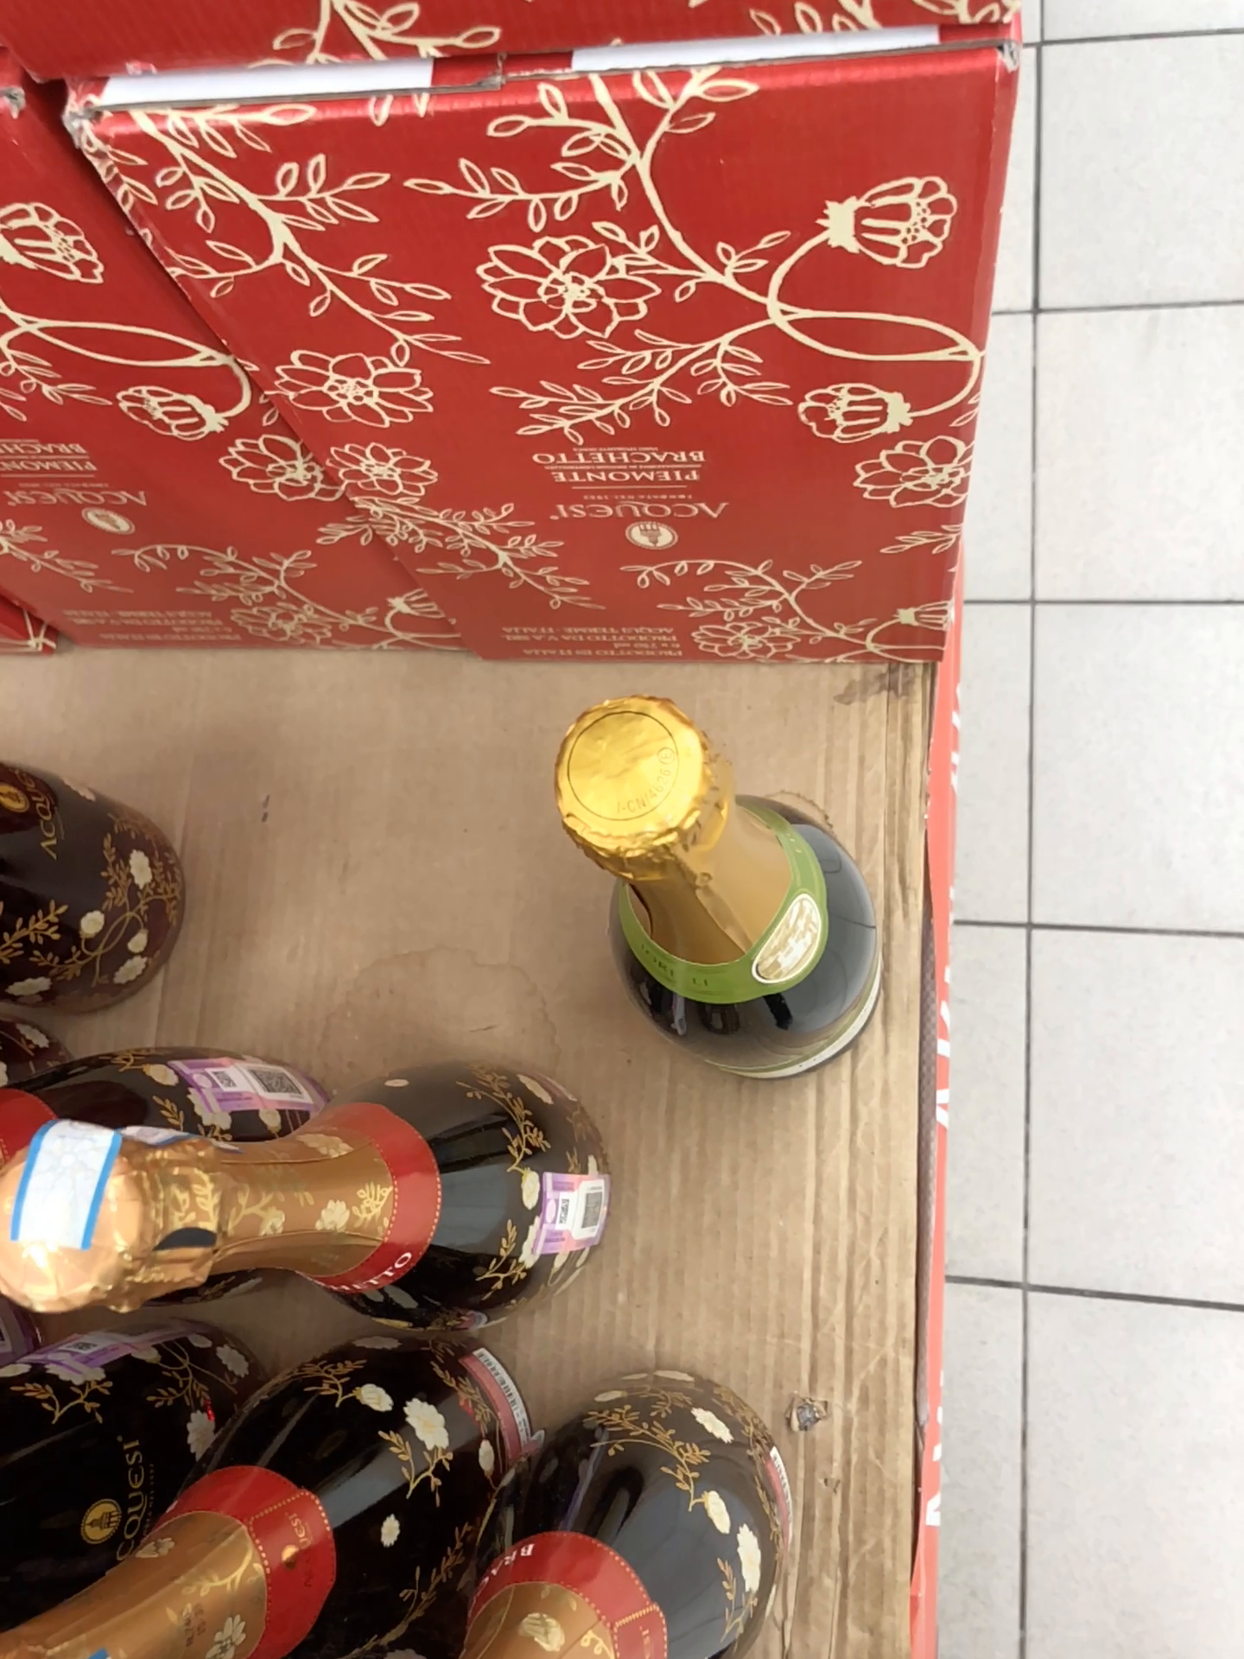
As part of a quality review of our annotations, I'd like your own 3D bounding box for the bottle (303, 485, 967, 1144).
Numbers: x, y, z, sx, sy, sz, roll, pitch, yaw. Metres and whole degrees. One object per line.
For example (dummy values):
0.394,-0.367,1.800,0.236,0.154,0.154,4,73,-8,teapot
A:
0.028,0.025,0.395,0.090,0.290,0.090,-3,77,11,bottle
